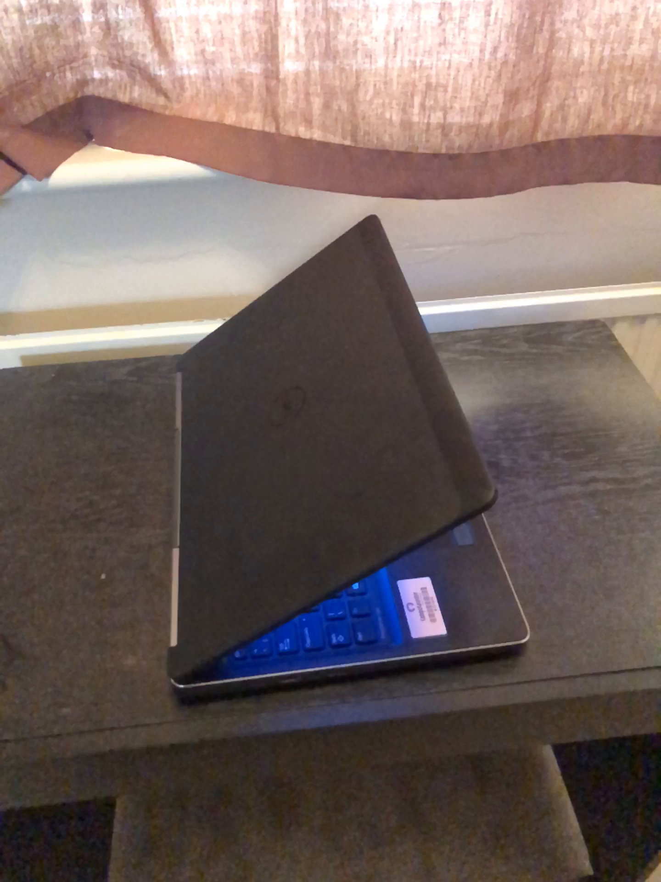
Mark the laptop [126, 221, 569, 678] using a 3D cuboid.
[{"bbox_3d":[-0.011,-0.023,0.577,0.243,0.134,0.365,-6,42,-4],"label":"laptop"}]
